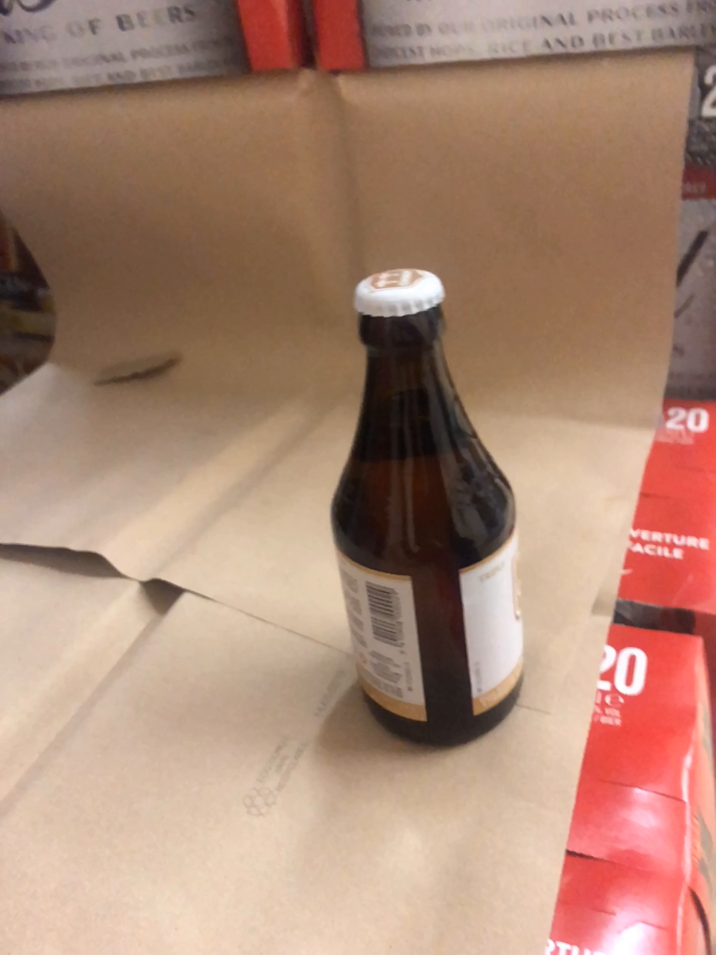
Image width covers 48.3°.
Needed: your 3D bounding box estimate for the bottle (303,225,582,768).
[{"bbox_3d":[0.032,0.011,0.280,0.070,0.169,0.081,-4,32,6],"label":"bottle"}]
